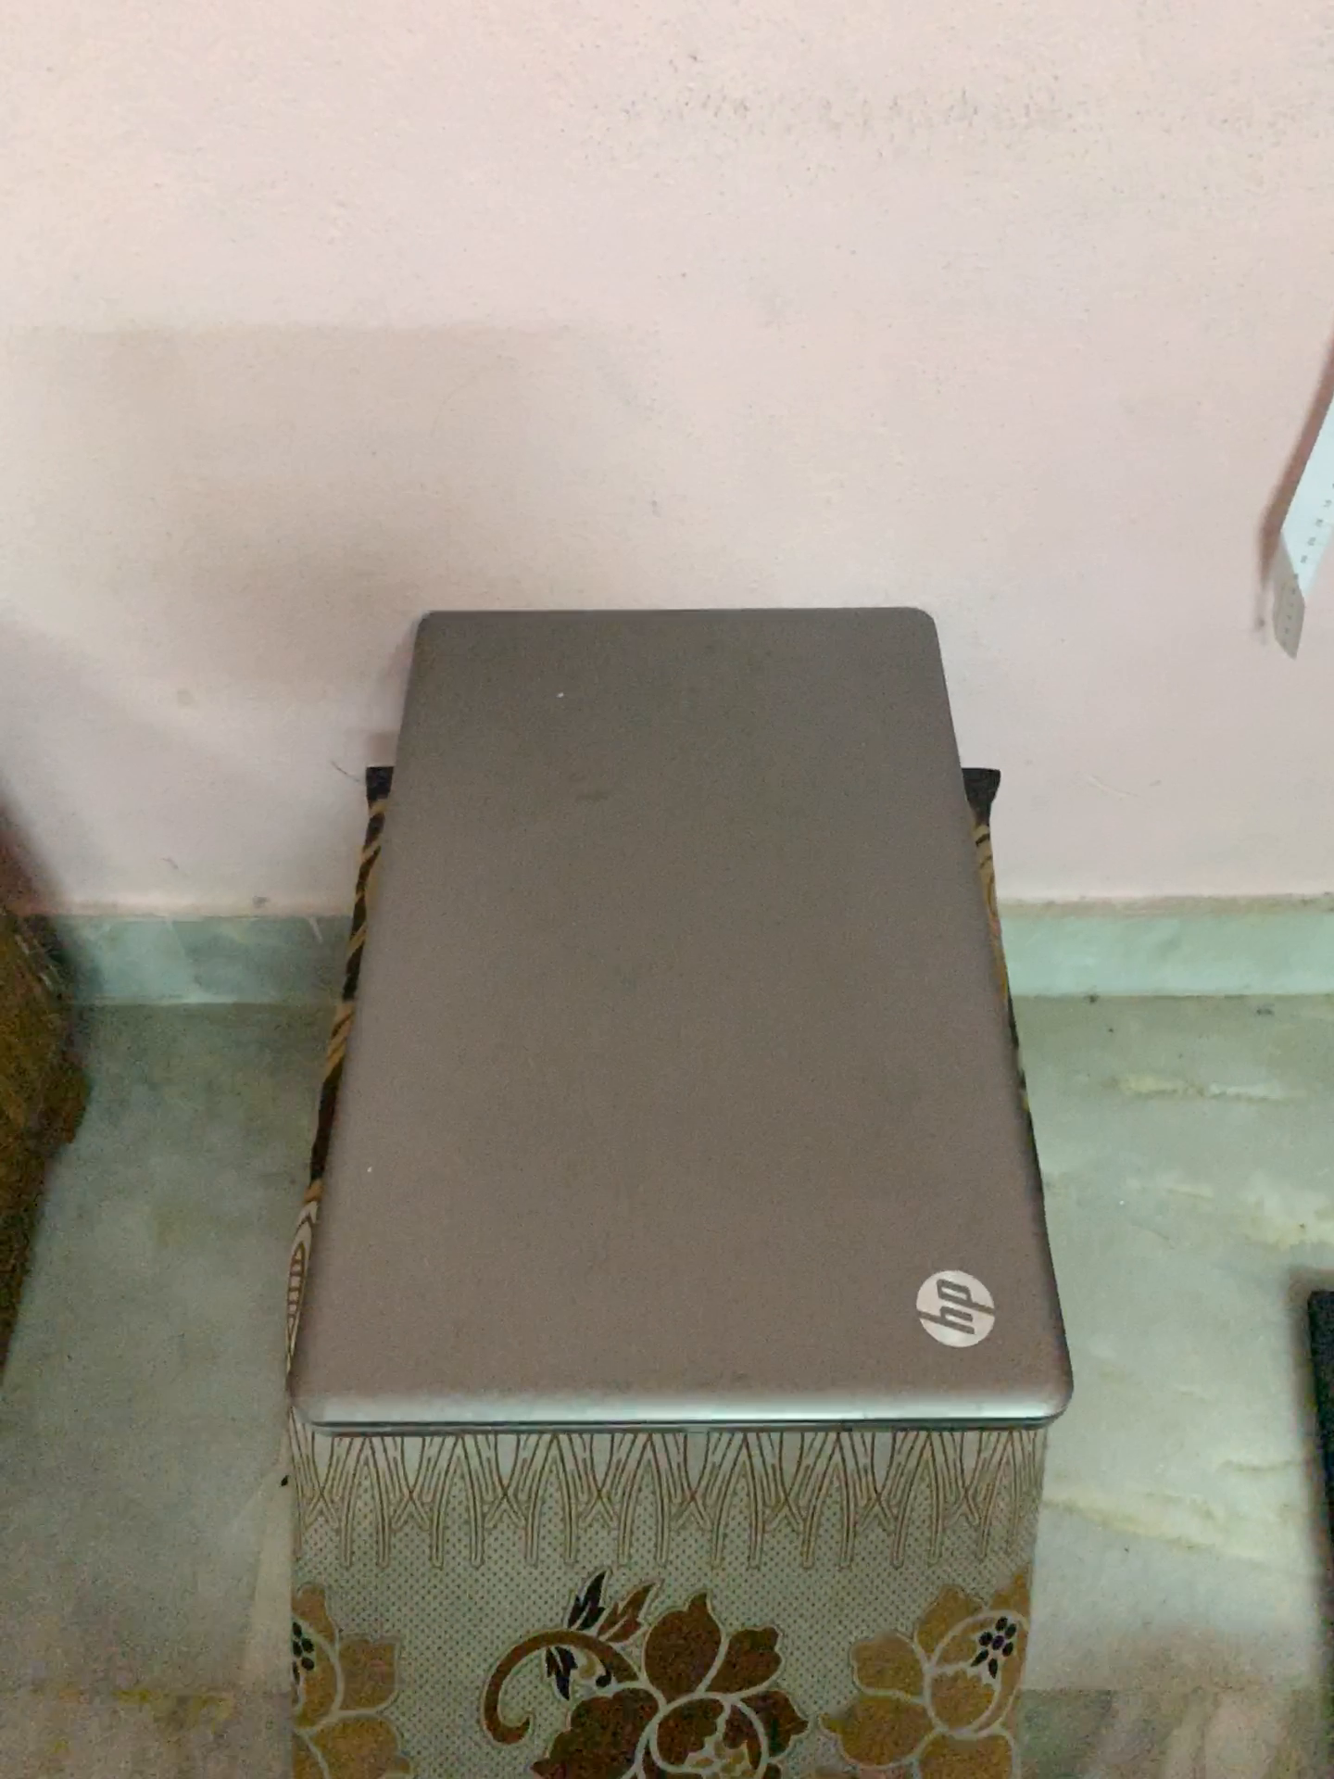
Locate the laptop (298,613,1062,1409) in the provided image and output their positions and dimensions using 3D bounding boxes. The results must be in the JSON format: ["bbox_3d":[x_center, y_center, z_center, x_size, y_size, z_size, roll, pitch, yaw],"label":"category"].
[{"bbox_3d":[0.005,0.017,0.559,0.249,0.002,0.381,0,53,1],"label":"laptop"}]
